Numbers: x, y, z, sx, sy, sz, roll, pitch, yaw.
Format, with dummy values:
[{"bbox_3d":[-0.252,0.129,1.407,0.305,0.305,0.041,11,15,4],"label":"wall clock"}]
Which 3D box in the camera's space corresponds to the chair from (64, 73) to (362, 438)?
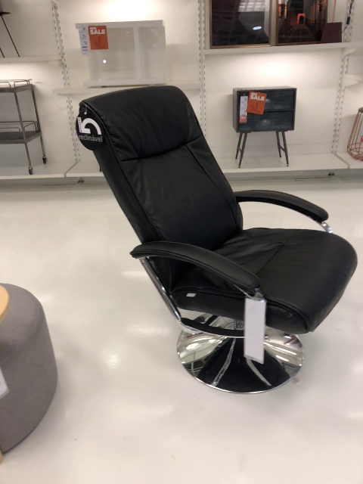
[{"bbox_3d":[0.188,-0.073,1.513,0.801,0.993,0.734,16,31,34],"label":"chair"}]
